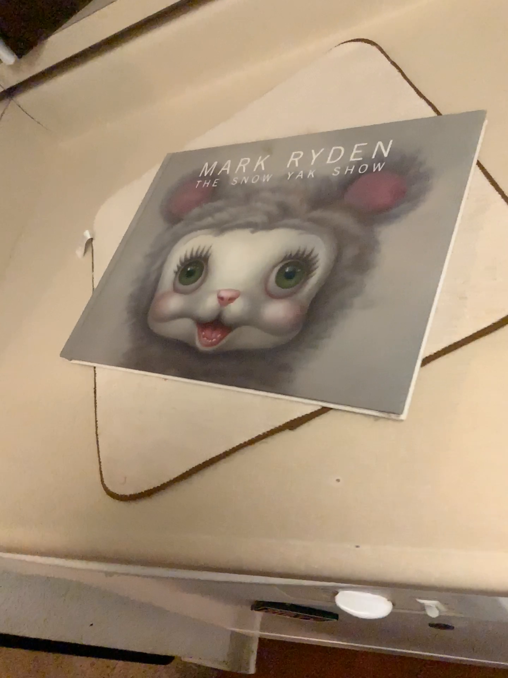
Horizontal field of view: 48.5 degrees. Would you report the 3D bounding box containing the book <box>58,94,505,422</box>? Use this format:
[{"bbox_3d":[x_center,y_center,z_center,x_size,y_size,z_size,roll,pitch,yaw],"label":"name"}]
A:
[{"bbox_3d":[0.007,-0.091,0.536,0.380,0.020,0.290,6,64,35],"label":"book"}]
